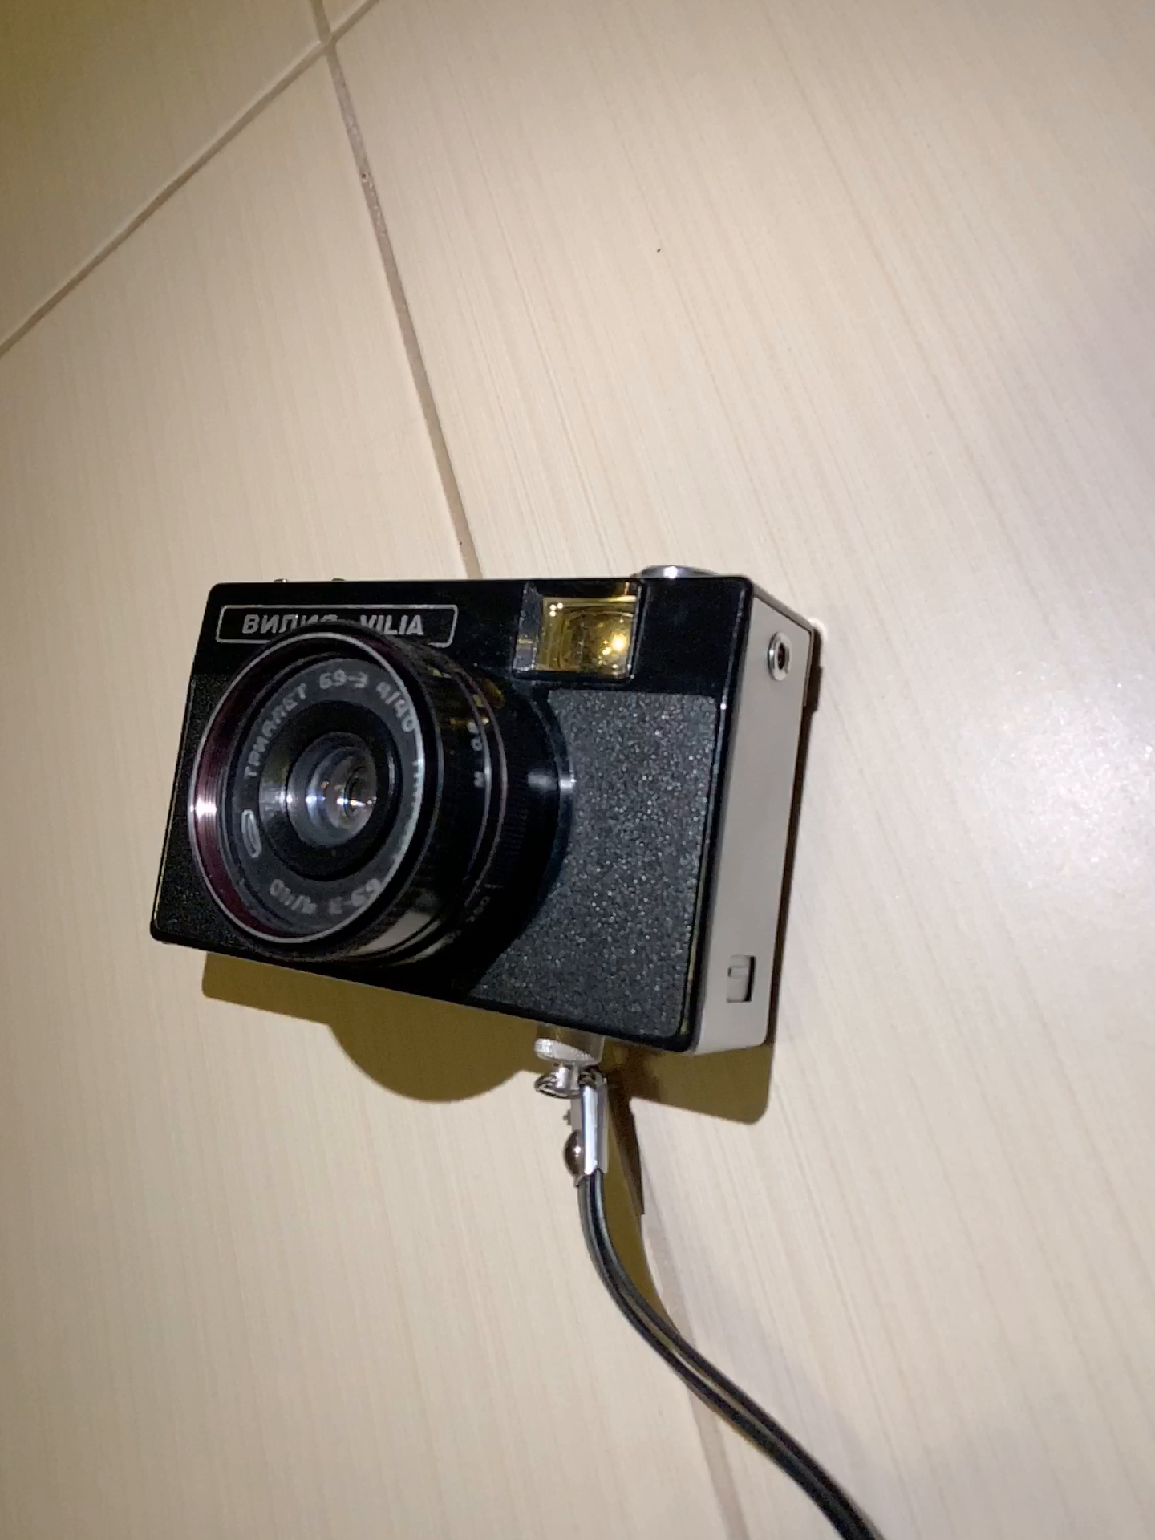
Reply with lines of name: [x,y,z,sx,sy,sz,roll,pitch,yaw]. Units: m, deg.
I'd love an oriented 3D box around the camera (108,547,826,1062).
camera: [-0.025,0.003,0.219,0.125,0.041,0.073,5,85,34]
